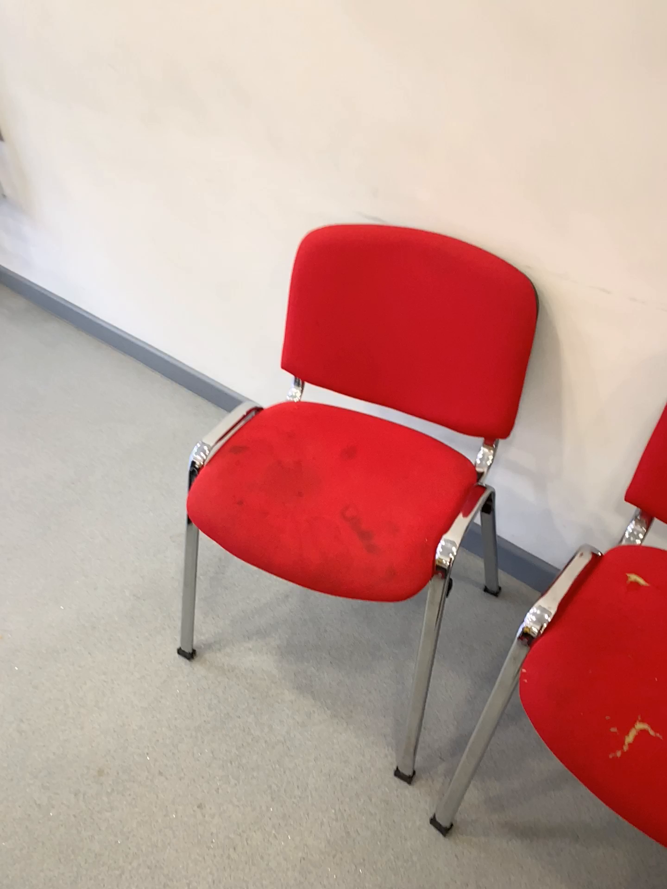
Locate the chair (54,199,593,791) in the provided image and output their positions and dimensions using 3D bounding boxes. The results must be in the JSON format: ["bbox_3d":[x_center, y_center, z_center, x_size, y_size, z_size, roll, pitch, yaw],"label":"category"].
[{"bbox_3d":[0.032,0.064,1.302,0.599,0.752,0.632,20,46,24],"label":"chair"}]

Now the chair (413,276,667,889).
[{"bbox_3d":[0.529,0.322,0.947,0.570,0.792,0.591,30,51,32],"label":"chair"}]
